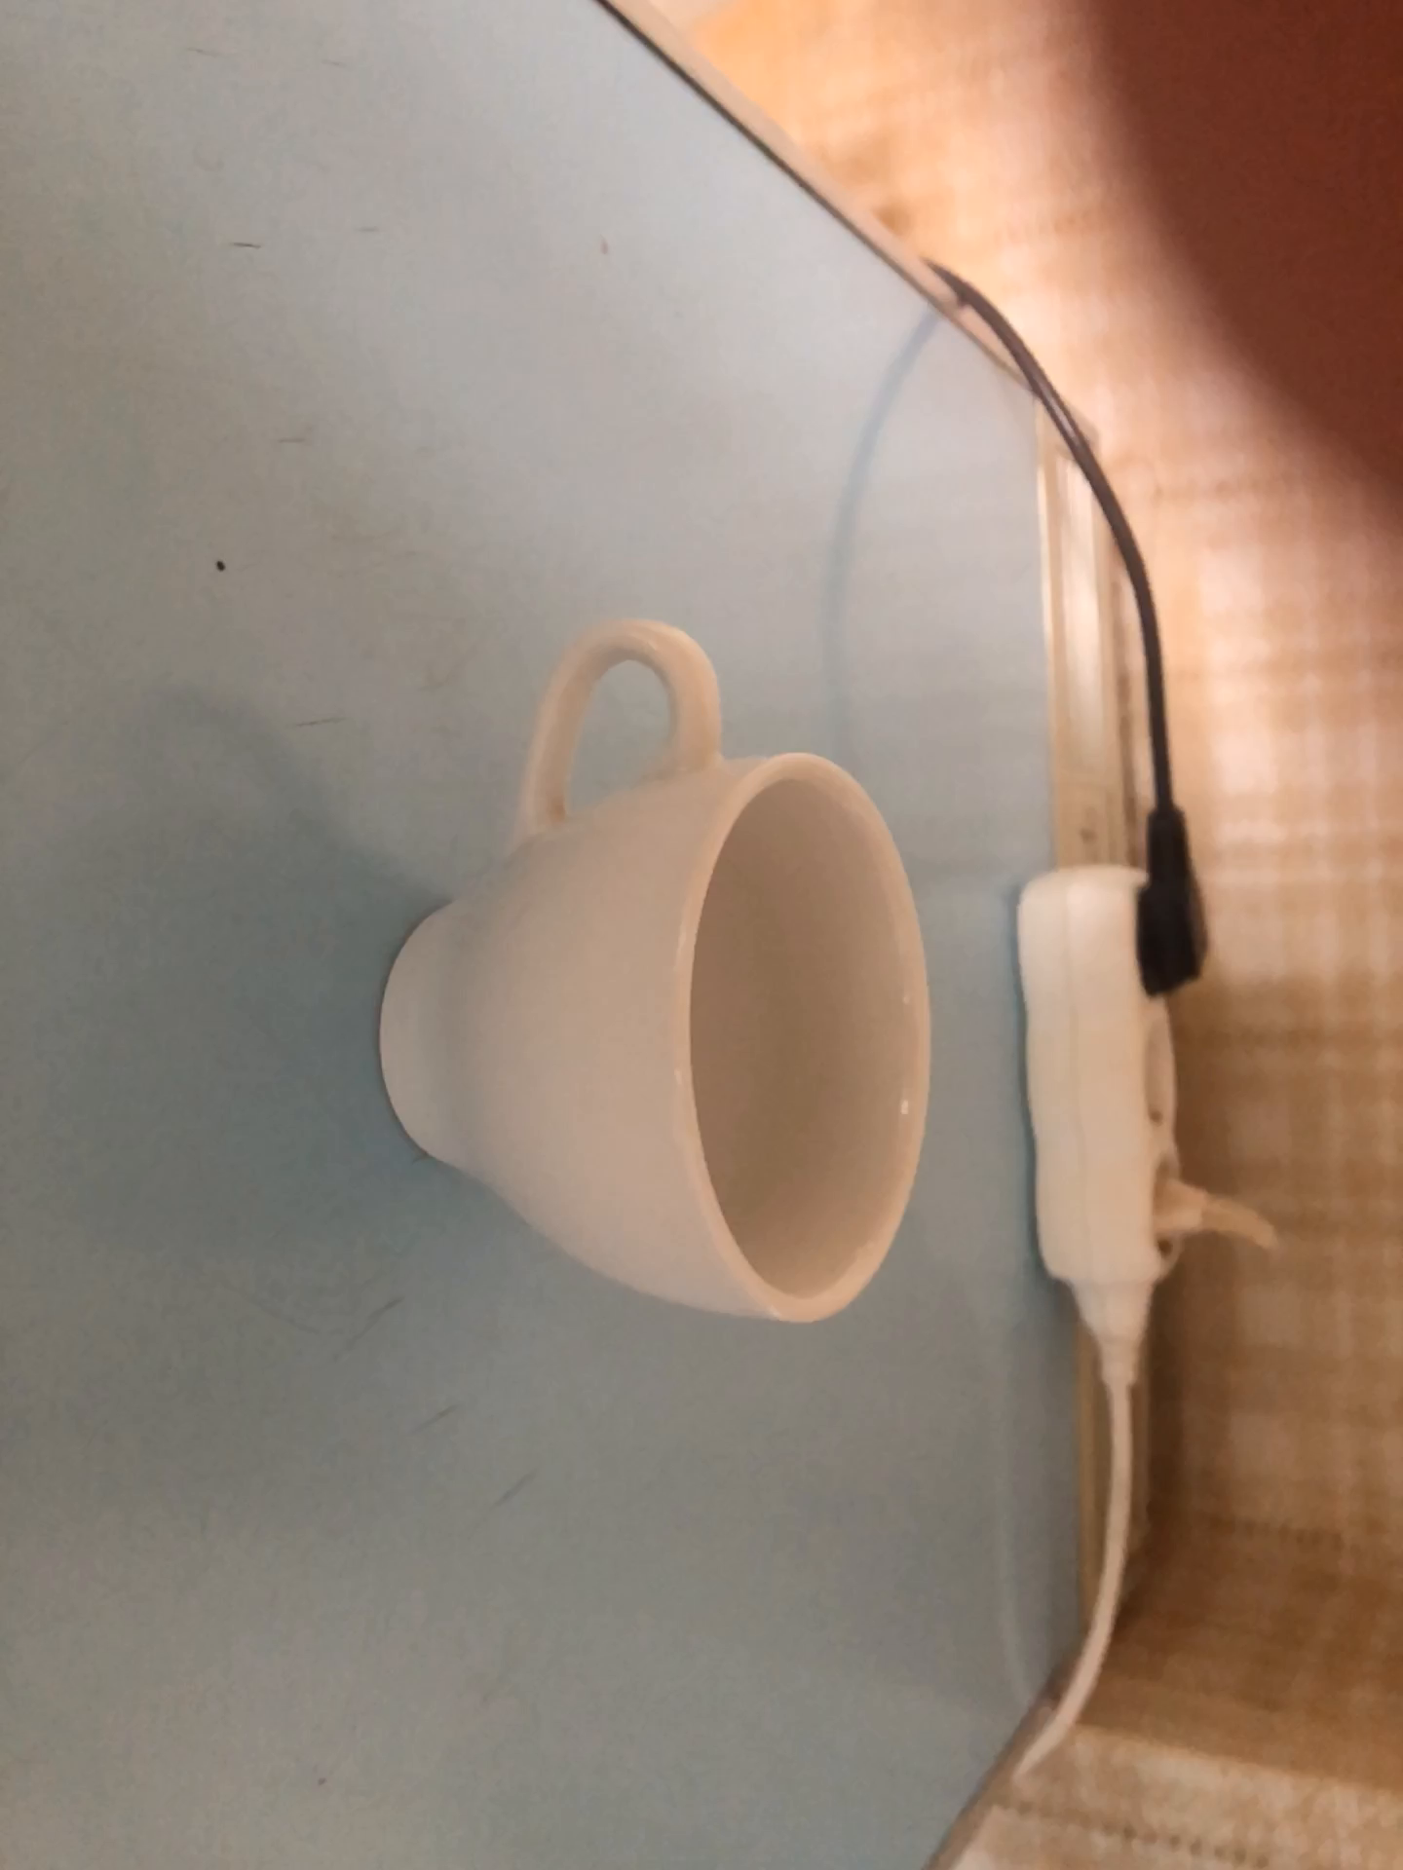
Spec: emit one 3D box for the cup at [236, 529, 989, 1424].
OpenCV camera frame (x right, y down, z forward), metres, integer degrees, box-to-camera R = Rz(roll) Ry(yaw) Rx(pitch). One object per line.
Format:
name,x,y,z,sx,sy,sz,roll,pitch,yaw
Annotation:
cup,-0.004,0.000,0.249,0.097,0.057,0.106,8,81,-60
